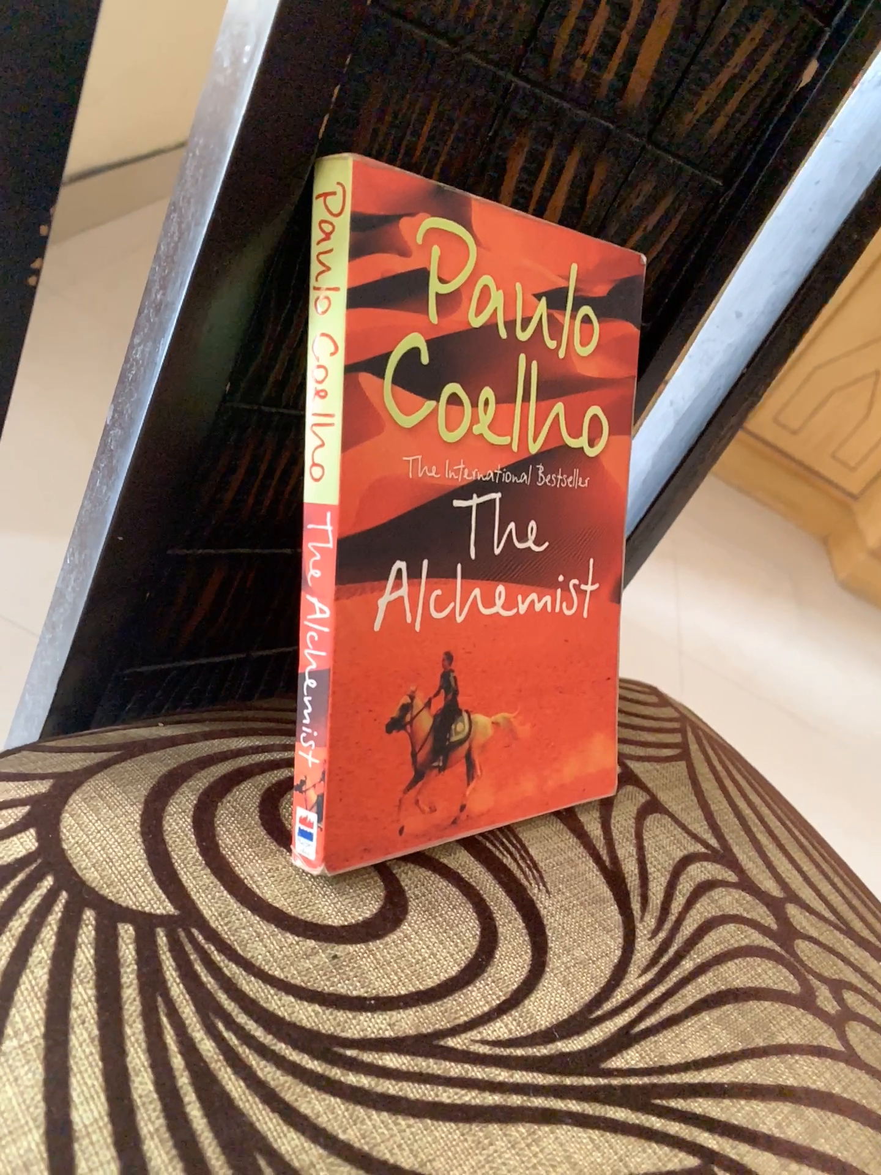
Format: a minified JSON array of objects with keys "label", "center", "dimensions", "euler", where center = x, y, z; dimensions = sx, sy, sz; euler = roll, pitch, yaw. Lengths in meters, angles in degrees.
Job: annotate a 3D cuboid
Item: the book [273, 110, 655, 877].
[{"label":"book","center":[0.015,-0.025,0.297],"dimensions":[0.141,0.200,0.030],"euler":[-1,2,-42]}]
